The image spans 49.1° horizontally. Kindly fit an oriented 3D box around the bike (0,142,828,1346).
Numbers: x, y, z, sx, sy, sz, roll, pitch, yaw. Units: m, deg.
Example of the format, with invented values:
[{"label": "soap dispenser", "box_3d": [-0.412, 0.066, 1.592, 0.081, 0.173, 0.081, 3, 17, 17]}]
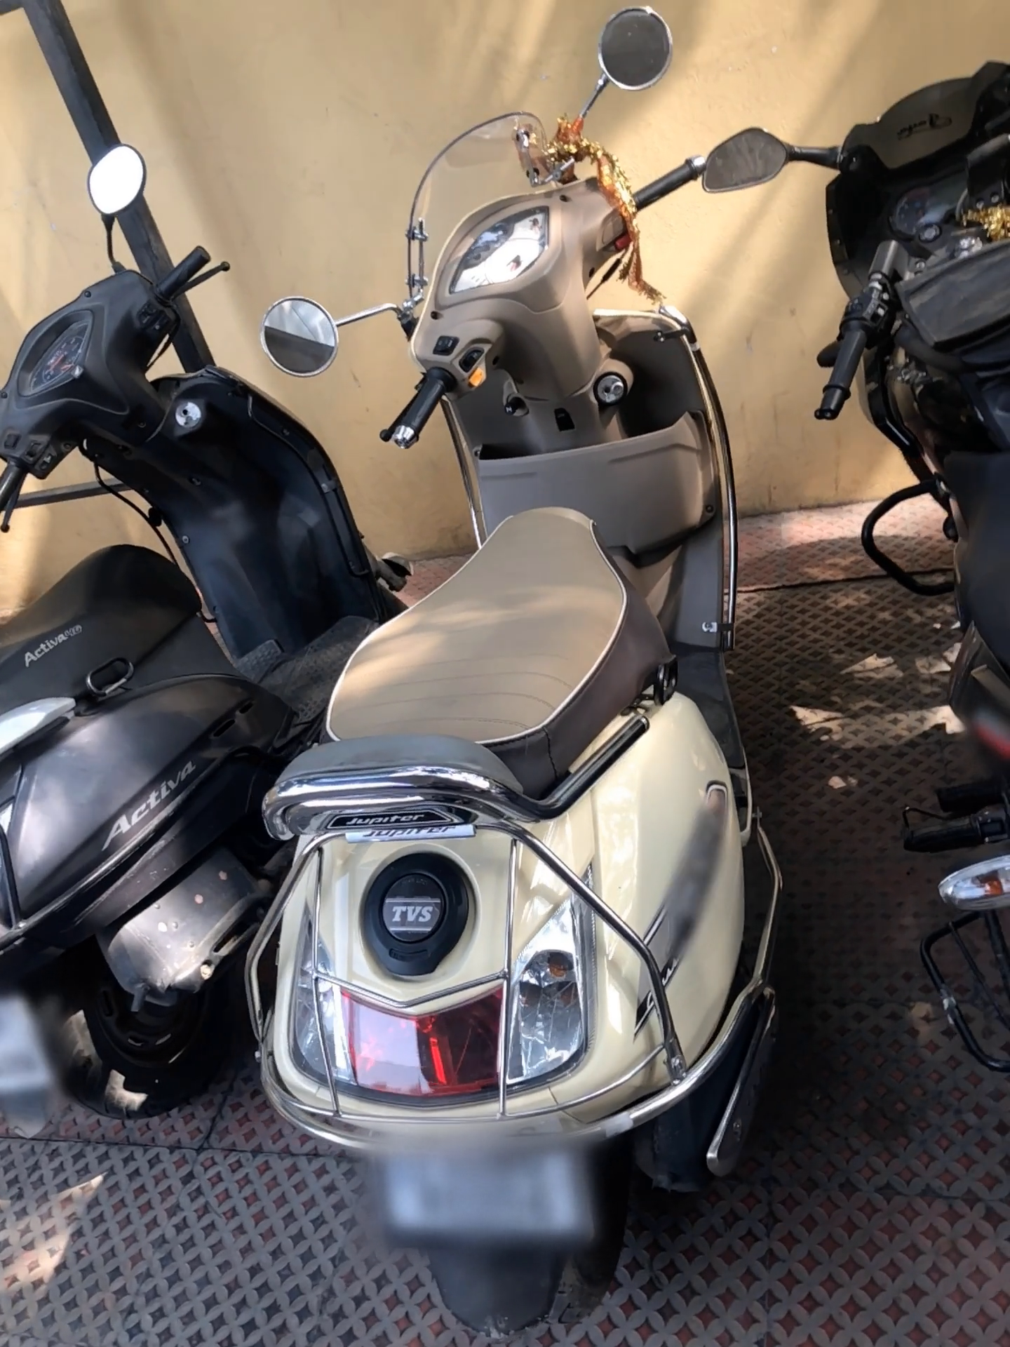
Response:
[{"label": "bike", "box_3d": [-0.024, -0.059, 1.707, 0.645, 0.999, 1.634, -10, 34, 13]}]
